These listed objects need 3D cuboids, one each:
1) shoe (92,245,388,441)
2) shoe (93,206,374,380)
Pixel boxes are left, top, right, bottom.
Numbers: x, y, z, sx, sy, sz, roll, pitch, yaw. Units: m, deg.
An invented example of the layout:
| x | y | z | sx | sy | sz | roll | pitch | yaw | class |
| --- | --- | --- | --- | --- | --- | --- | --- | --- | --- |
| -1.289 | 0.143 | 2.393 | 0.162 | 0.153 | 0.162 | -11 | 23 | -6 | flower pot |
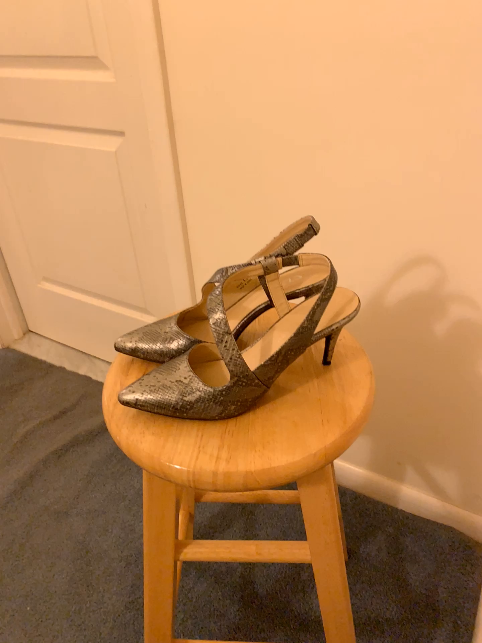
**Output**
| x | y | z | sx | sy | sz | roll | pitch | yaw | class |
| --- | --- | --- | --- | --- | --- | --- | --- | --- | --- |
| -0.004 | 0.014 | 0.478 | 0.250 | 0.106 | 0.103 | -10 | 34 | -9 | shoe |
| -0.007 | -0.035 | 0.543 | 0.269 | 0.125 | 0.101 | -8 | 34 | -5 | shoe |
